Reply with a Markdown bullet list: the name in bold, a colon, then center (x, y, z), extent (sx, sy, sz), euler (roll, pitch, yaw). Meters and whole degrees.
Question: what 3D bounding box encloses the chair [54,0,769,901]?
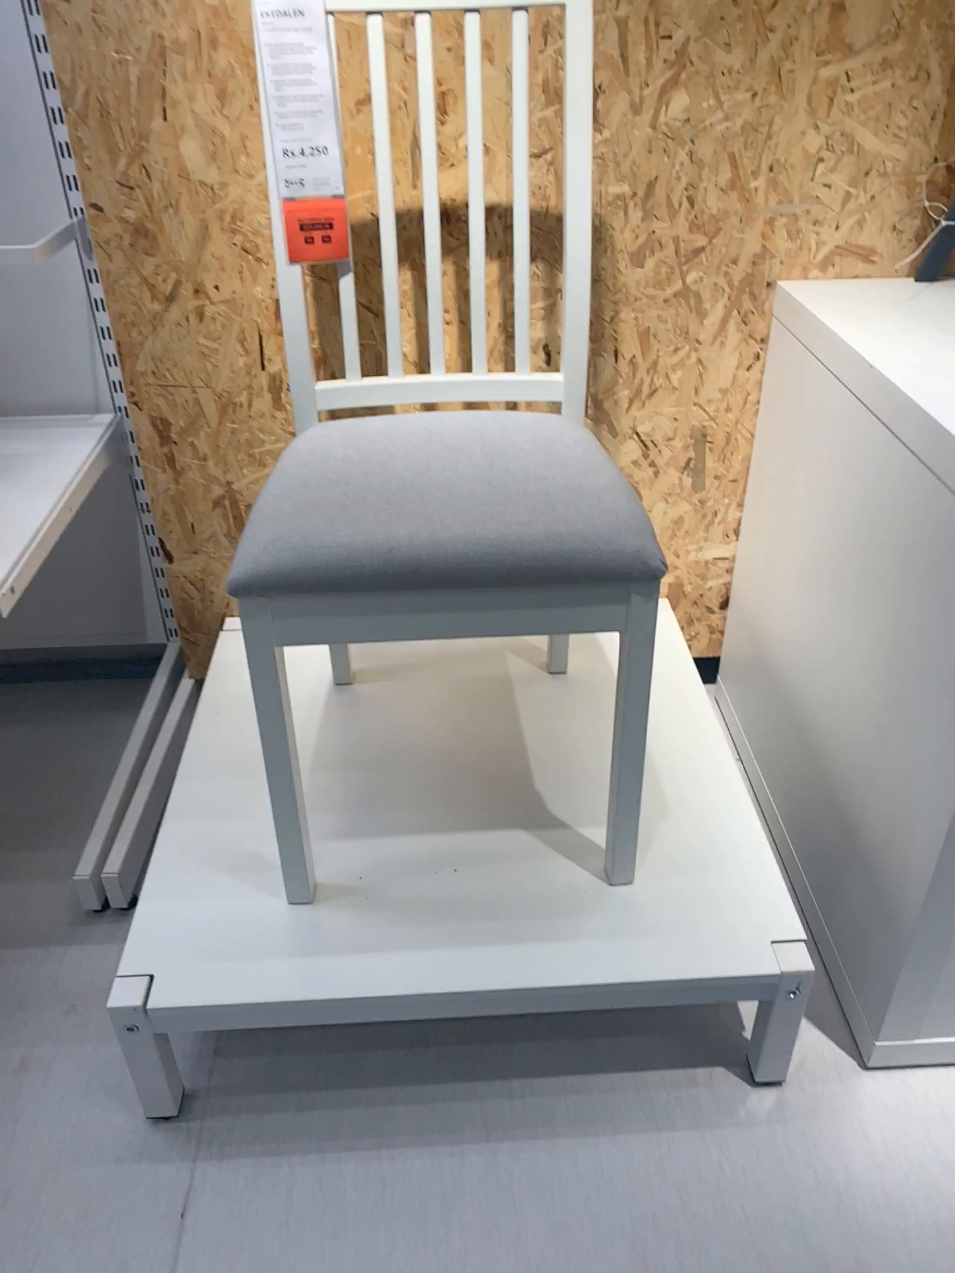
- **chair**: center (-0.044, -0.231, 1.044), extent (0.430, 0.886, 0.512), euler (-2, 34, -2)
